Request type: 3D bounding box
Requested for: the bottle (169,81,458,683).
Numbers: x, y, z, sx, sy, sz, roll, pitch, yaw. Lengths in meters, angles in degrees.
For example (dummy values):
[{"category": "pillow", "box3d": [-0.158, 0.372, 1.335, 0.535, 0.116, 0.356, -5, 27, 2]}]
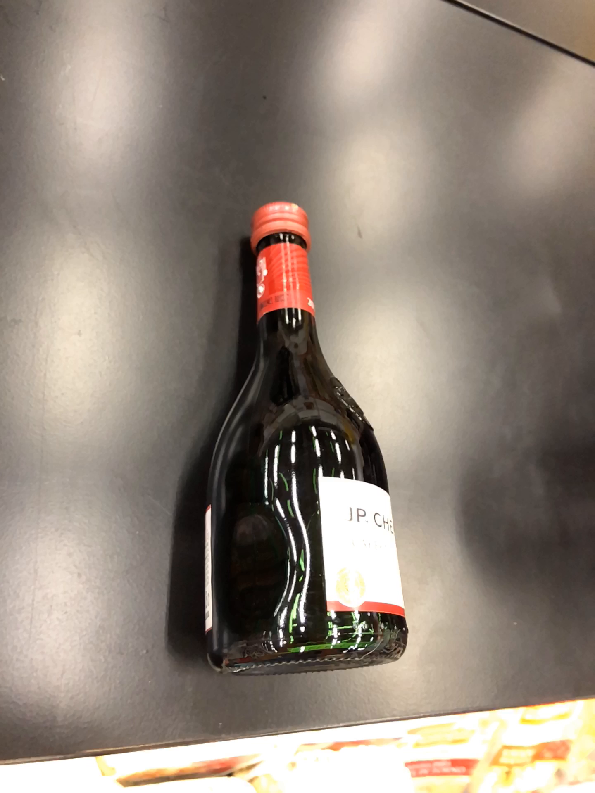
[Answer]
[{"category": "bottle", "box3d": [-0.003, -0.007, 0.243, 0.070, 0.060, 0.200, 7, 66, -24]}]
